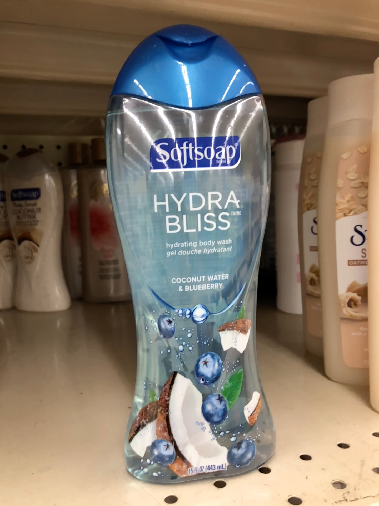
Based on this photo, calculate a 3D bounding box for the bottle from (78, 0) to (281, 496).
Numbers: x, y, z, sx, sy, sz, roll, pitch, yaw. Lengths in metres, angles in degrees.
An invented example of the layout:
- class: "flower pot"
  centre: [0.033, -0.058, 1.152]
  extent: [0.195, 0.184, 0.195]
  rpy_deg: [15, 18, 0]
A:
- class: "bottle"
  centre: [-0.004, -0.003, 0.206]
  extent: [0.080, 0.211, 0.051]
  rpy_deg: [-3, 8, -11]
